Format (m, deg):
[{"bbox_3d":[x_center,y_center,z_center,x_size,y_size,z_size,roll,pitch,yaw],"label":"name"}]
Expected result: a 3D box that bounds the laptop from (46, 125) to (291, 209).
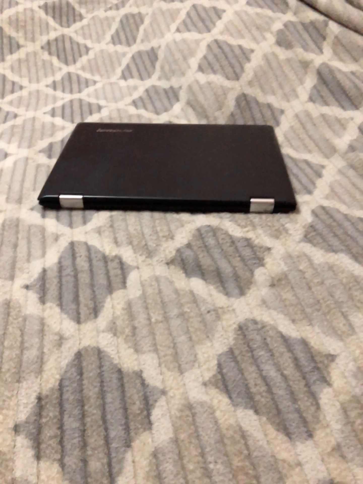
[{"bbox_3d":[-0.014,-0.129,0.641,0.339,0.005,0.232,2,42,1],"label":"laptop"}]
